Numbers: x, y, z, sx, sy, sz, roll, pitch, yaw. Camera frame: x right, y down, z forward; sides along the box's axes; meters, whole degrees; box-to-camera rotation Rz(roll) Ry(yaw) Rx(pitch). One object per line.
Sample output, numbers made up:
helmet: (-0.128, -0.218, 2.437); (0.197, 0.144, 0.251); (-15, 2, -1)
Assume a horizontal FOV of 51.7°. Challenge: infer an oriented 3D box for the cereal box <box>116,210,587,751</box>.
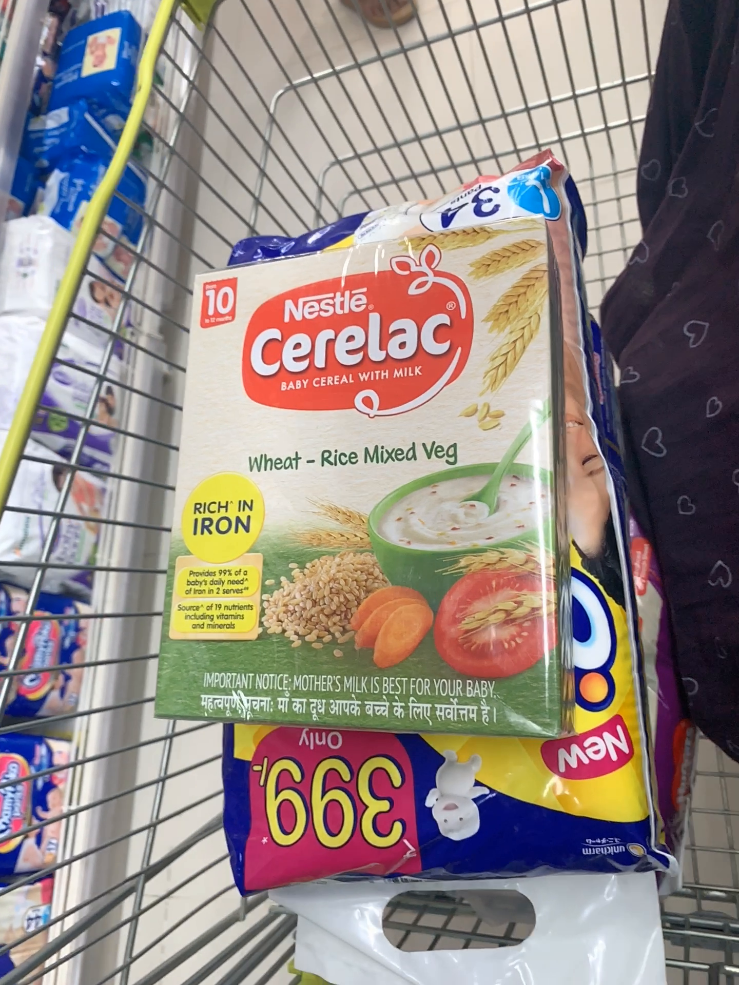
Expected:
cereal box: (-0.005, -0.001, 0.294); (0.160, 0.050, 0.180); (-4, 74, 20)
